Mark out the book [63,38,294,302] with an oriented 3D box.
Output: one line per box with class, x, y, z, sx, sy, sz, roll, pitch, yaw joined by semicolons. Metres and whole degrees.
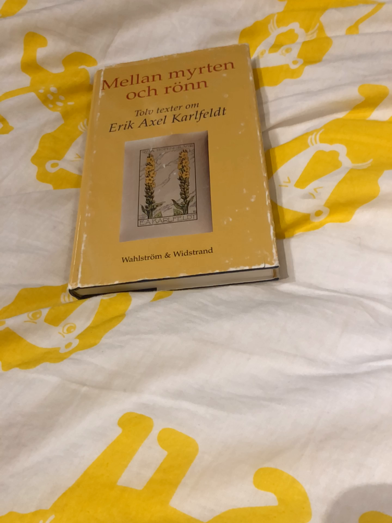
book;-0.015;-0.080;0.331;0.141;0.030;0.215;-7;59;6
